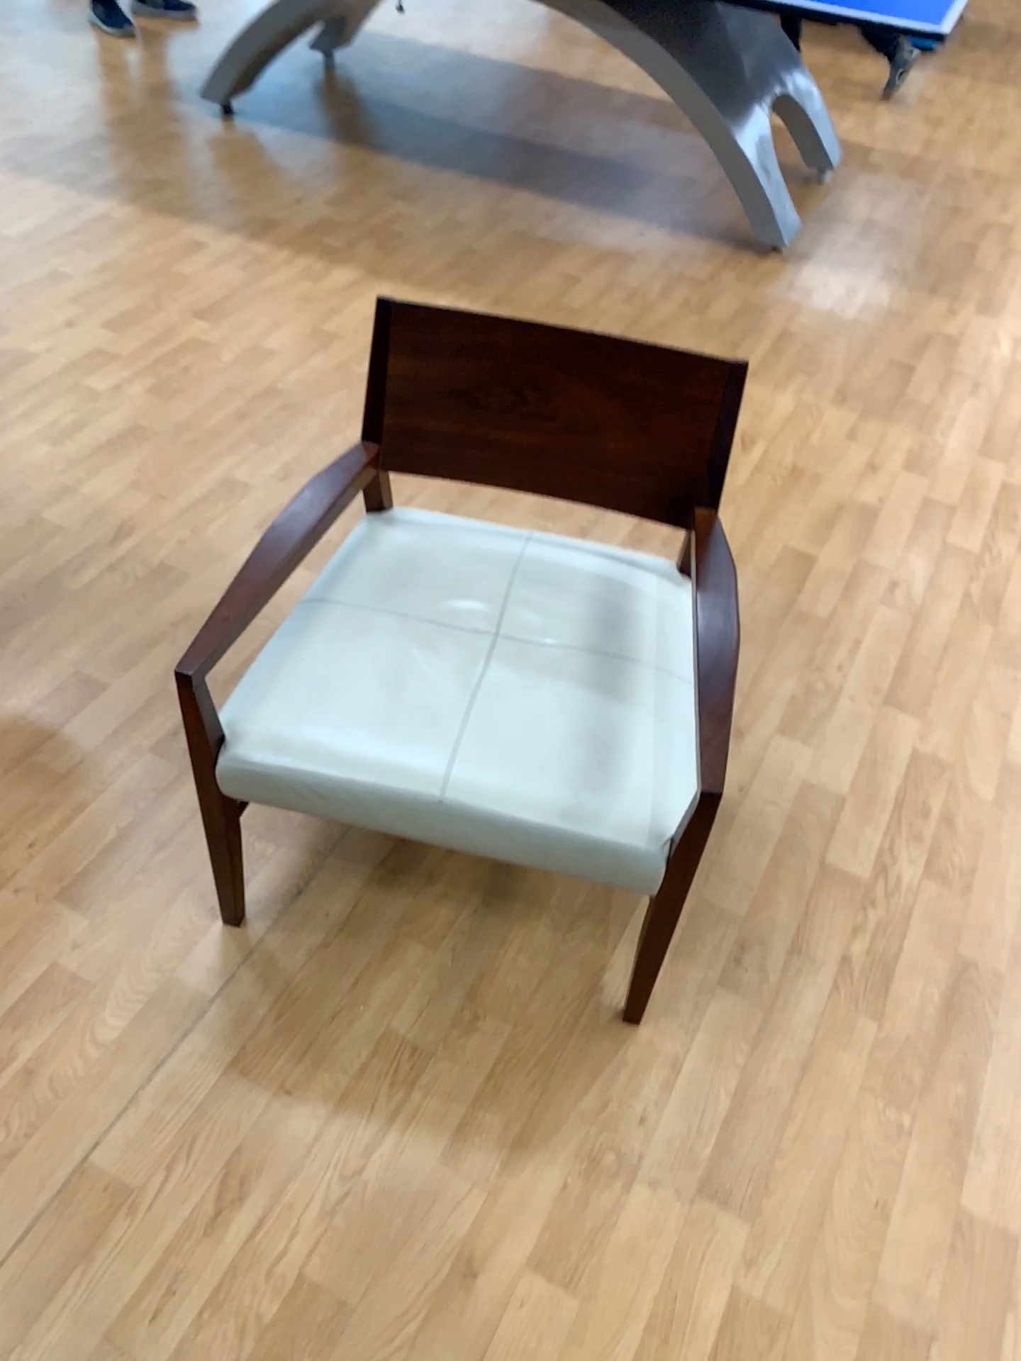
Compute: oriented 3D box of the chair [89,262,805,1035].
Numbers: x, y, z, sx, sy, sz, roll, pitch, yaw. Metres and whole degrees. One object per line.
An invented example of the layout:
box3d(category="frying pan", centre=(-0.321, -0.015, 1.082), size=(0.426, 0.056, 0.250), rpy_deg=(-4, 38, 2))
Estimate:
box3d(category="chair", centre=(-0.024, -0.066, 1.443), size=(0.670, 0.635, 0.716), rpy_deg=(12, 45, 6))
